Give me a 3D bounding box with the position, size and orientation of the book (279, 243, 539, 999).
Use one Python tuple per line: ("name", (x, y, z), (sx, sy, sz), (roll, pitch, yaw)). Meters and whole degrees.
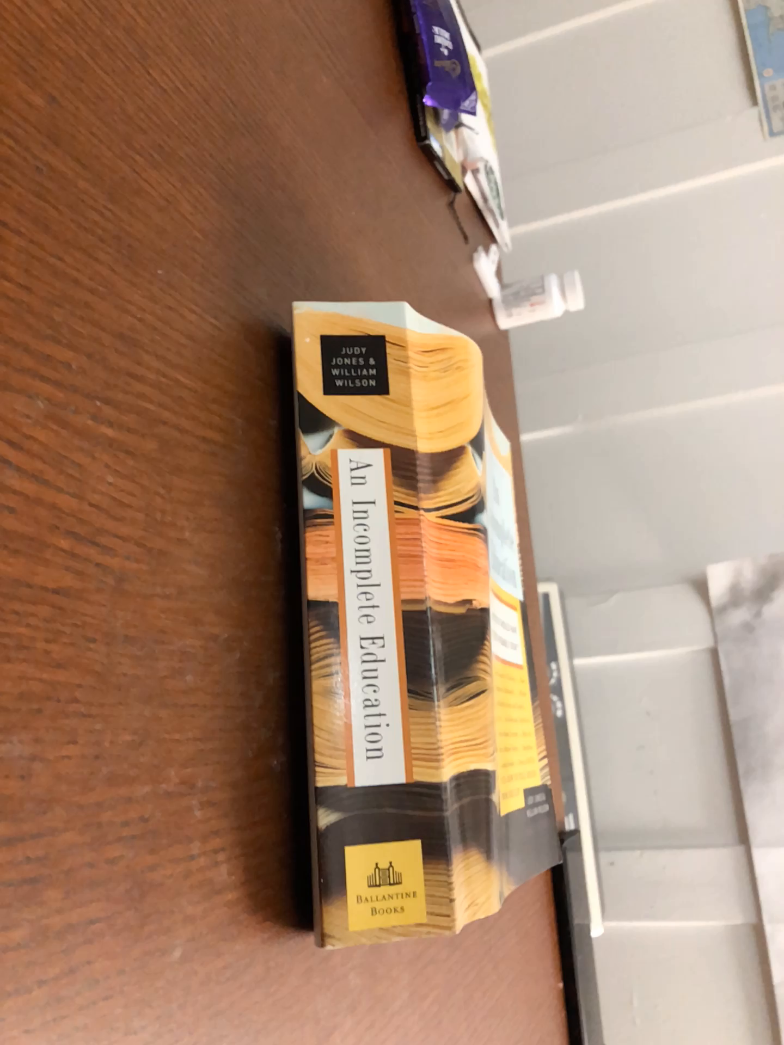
("book", (0.017, 0.046, 0.393), (0.210, 0.060, 0.250), (47, 37, -72))
